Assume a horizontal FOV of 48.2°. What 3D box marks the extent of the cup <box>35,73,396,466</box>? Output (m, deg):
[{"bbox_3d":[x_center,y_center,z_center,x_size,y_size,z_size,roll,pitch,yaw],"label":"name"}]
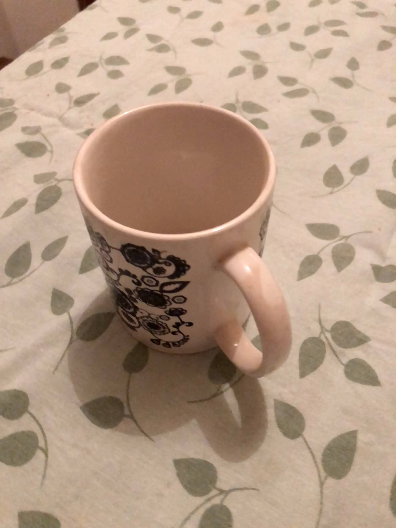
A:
[{"bbox_3d":[0.001,0.002,0.198,0.080,0.099,0.120,-26,59,-18],"label":"cup"}]
